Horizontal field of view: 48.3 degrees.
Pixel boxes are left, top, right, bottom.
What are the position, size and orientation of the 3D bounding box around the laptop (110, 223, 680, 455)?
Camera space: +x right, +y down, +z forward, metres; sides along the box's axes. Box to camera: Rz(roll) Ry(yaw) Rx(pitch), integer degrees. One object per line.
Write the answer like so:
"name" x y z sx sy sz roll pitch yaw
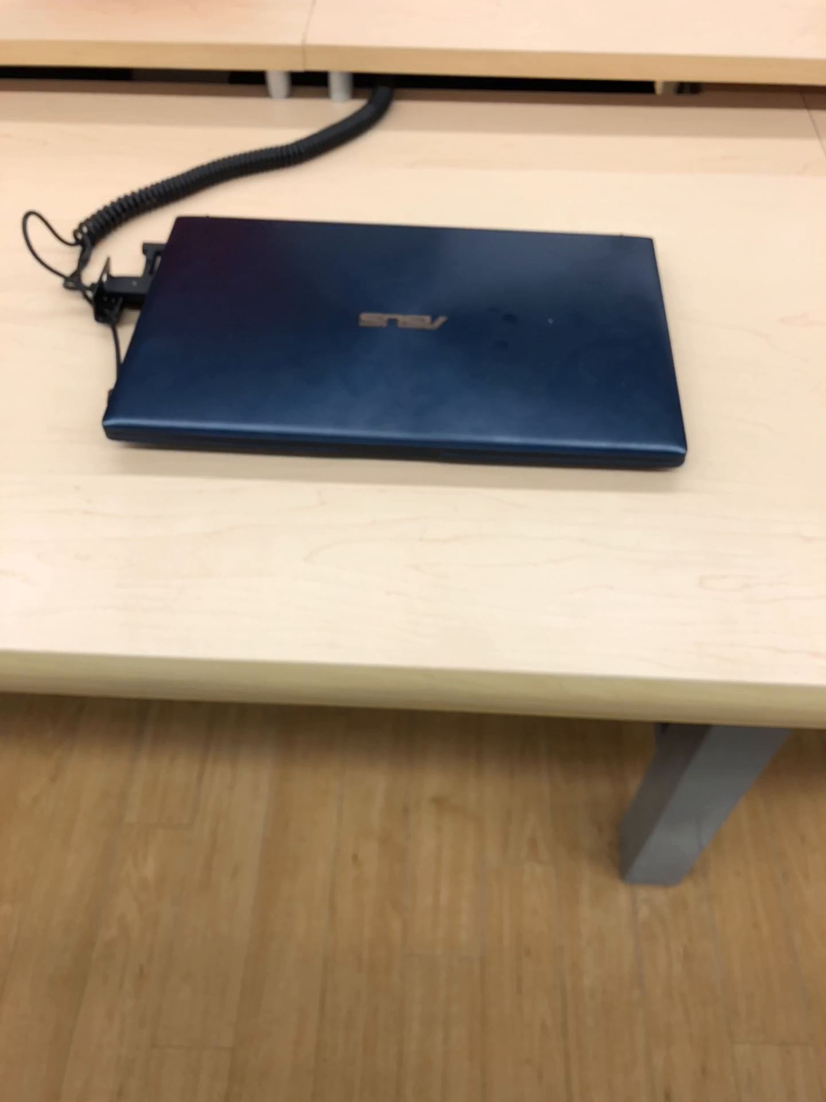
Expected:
"laptop" -0.004 -0.128 0.528 0.295 0.001 0.178 3 54 2
